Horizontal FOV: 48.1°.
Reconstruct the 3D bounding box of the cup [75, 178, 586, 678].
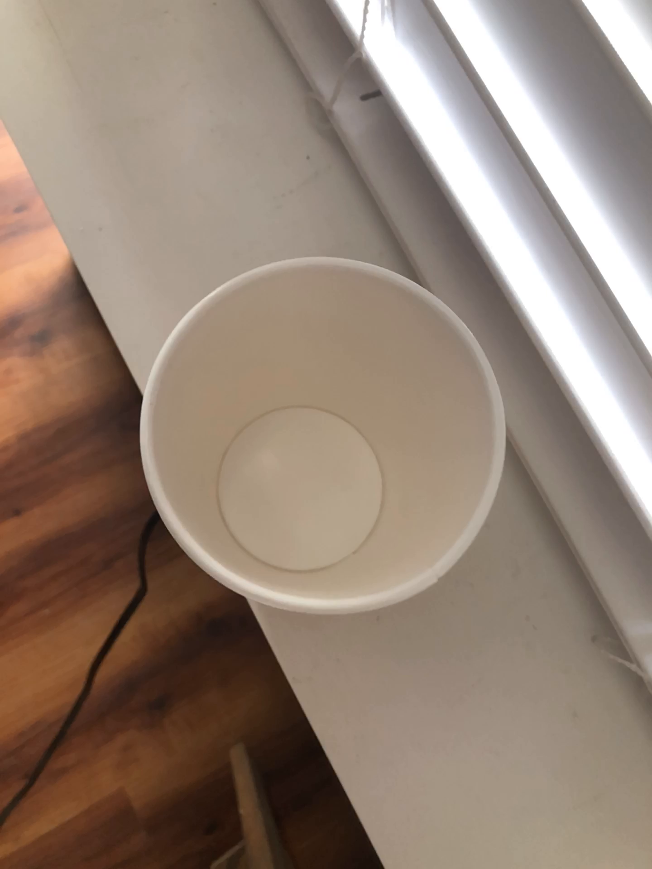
[{"bbox_3d":[-0.003,0.003,0.219,0.093,0.089,0.095,1,77,-6],"label":"cup"}]
